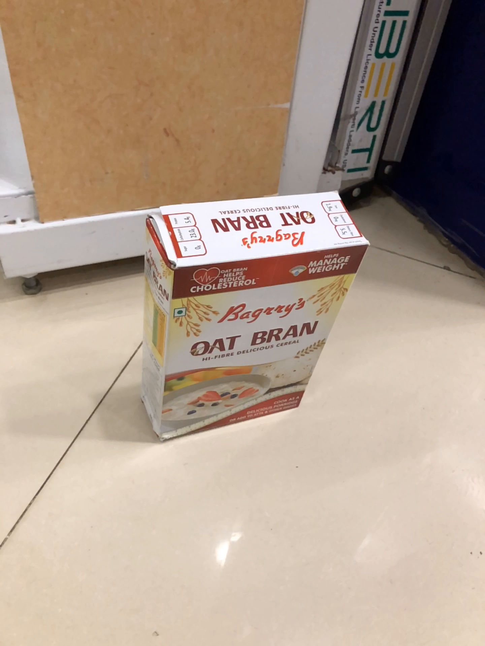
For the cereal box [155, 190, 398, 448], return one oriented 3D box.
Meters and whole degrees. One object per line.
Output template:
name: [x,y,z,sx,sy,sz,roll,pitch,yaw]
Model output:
cereal box: [0.012,0.006,0.429,0.150,0.209,0.060,-8,49,-15]
